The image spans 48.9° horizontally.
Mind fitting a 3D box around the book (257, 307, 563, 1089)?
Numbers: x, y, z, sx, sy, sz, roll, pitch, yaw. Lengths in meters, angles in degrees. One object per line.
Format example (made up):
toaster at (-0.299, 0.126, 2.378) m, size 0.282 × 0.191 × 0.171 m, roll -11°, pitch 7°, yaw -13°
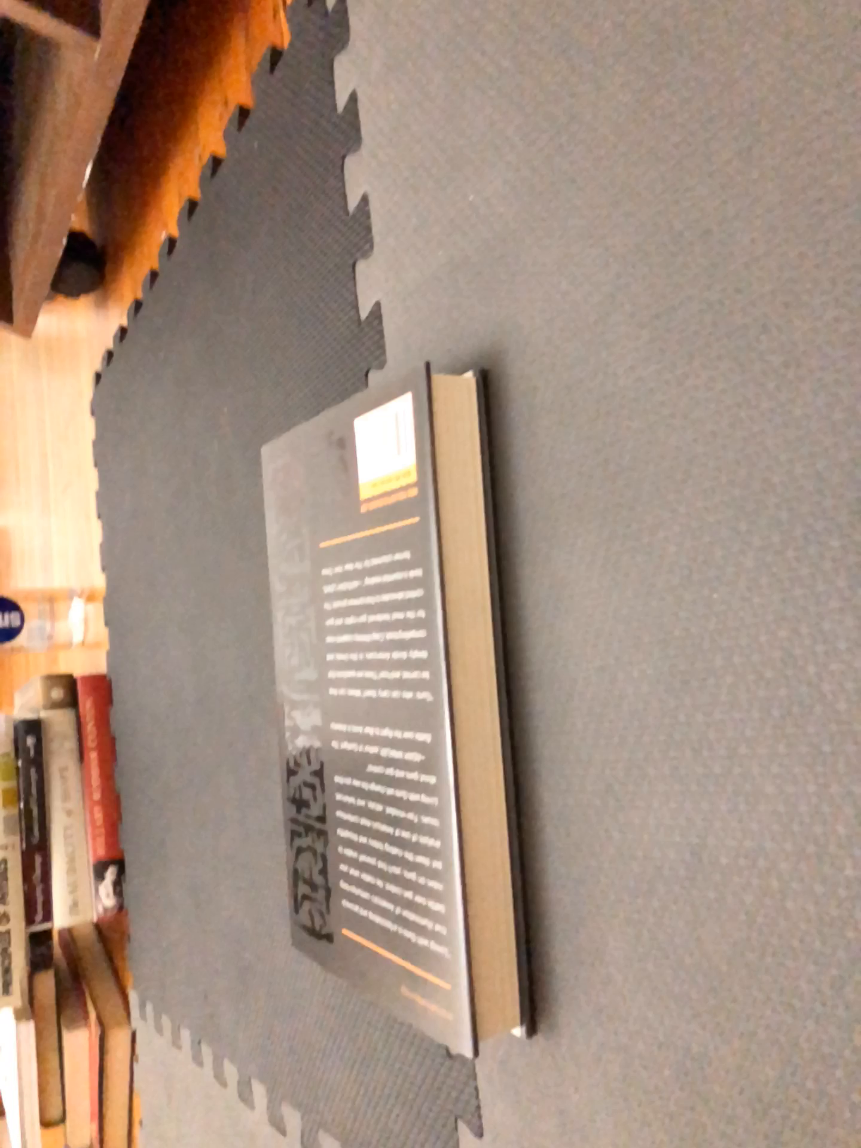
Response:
book at (-0.020, 0.044, 0.400) m, size 0.171 × 0.040 × 0.260 m, roll -7°, pitch 85°, yaw 59°
